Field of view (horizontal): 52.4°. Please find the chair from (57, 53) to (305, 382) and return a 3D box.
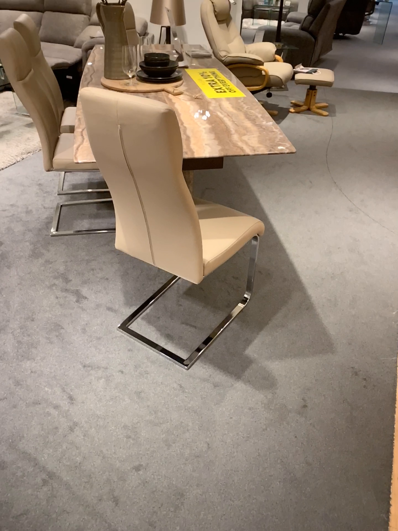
[{"bbox_3d":[-0.042,-0.192,1.546,0.528,0.981,0.587,22,41,26],"label":"chair"}]
